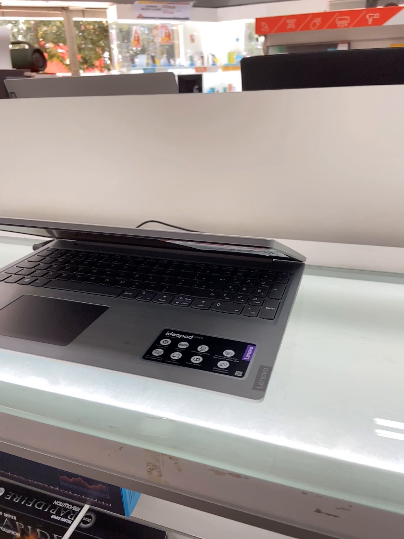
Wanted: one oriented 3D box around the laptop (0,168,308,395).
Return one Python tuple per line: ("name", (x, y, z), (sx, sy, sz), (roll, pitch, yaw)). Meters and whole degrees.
("laptop", (-0.089, -0.026, 0.427), (0.353, 0.104, 0.240), (6, 25, 19))
